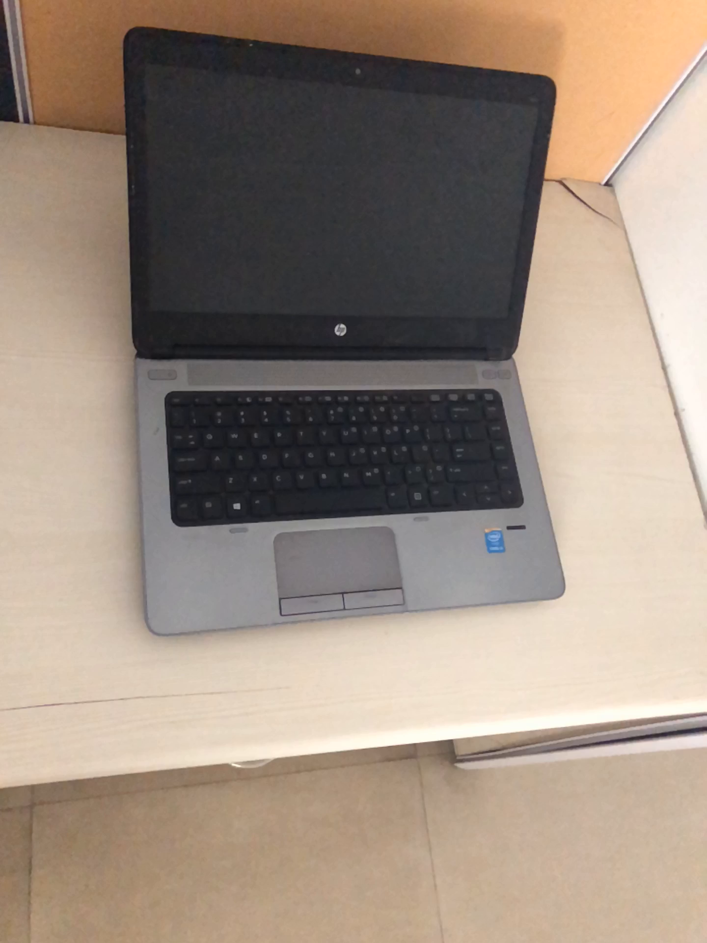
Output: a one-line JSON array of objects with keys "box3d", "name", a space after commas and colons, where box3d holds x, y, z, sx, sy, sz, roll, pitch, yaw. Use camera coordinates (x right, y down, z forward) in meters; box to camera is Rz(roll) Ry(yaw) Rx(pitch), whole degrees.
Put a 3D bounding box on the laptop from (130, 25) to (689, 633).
[{"box3d": [0.012, -0.100, 0.585, 0.324, 0.167, 0.372, -3, 70, -17], "name": "laptop"}]
